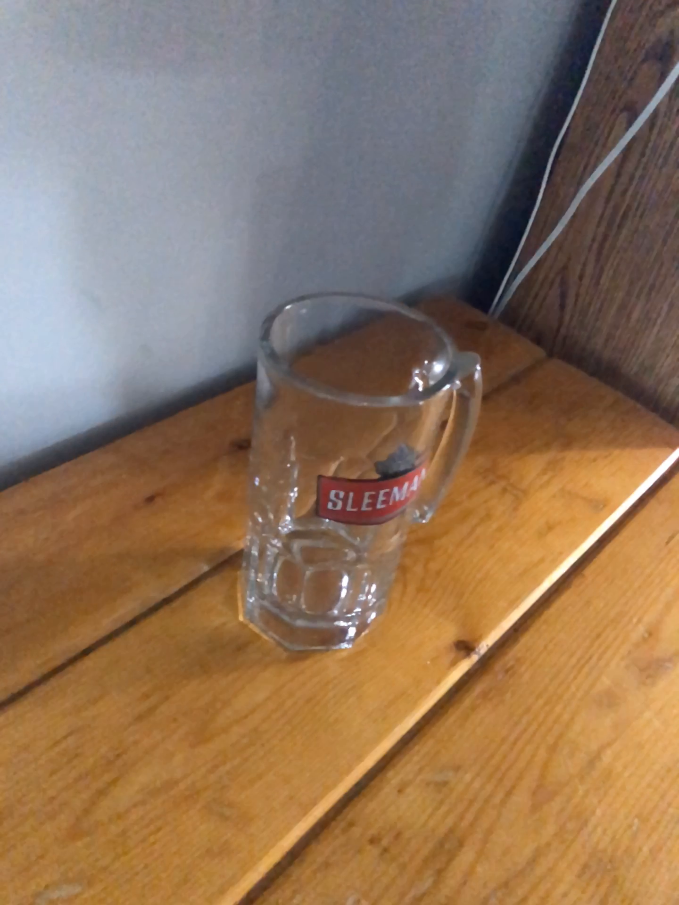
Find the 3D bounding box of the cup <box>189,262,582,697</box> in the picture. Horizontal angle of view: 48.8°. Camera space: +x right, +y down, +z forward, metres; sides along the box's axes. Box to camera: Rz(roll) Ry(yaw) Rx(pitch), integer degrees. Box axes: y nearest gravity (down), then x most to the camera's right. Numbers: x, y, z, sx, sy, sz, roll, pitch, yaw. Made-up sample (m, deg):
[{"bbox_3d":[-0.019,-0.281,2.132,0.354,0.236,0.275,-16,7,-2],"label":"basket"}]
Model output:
[{"bbox_3d":[0.011,0.016,0.446,0.160,0.209,0.110,-14,48,-28],"label":"cup"}]
